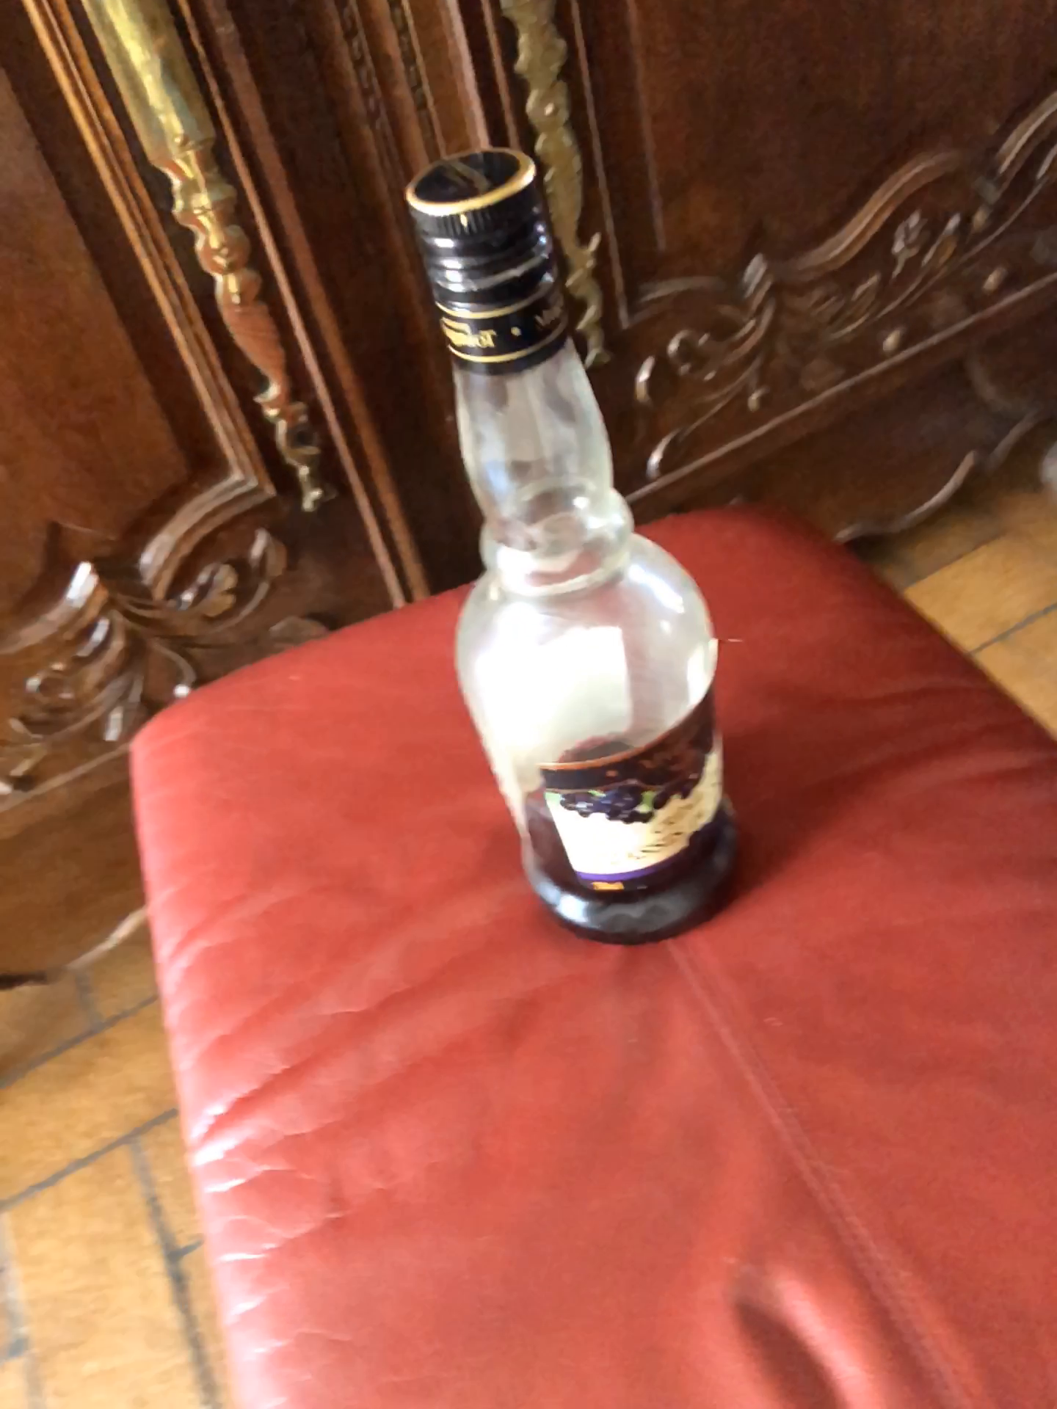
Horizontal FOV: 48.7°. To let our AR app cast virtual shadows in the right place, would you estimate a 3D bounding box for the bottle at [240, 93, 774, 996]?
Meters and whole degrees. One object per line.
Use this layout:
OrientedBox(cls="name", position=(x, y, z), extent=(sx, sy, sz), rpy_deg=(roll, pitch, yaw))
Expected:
OrientedBox(cls="bottle", position=(0.015, -0.027, 0.368), extent=(0.080, 0.278, 0.080), rpy_deg=(-8, 46, 8))
